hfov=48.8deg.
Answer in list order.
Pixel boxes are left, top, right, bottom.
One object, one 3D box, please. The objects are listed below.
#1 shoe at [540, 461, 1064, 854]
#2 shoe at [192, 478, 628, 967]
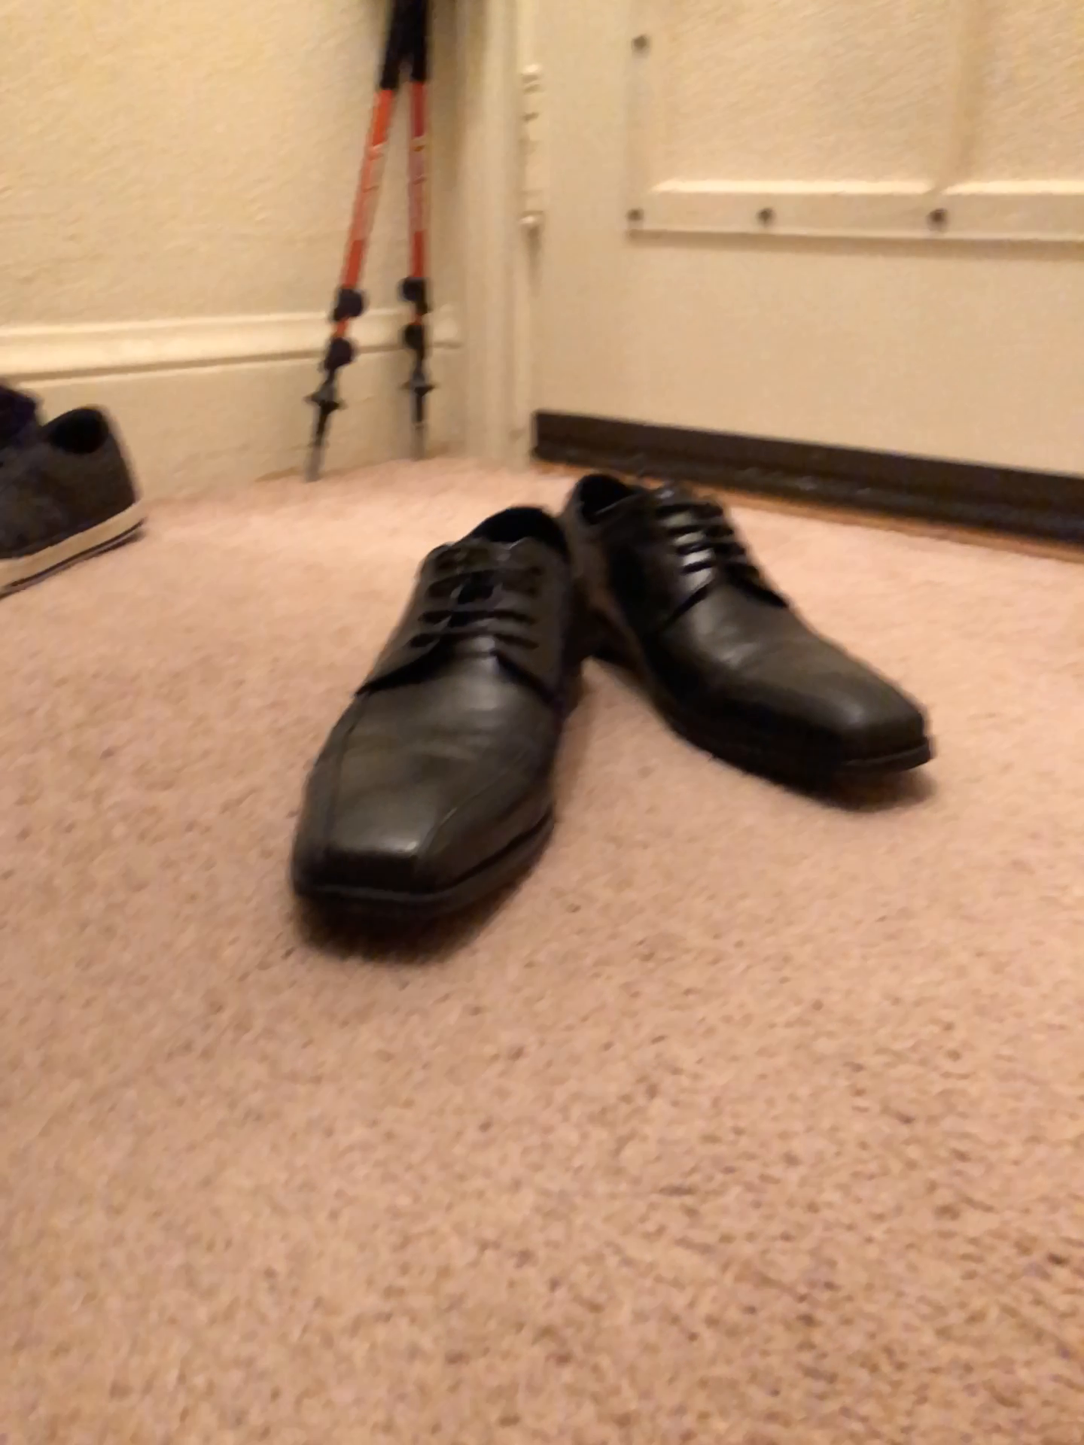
[{"bbox_3d":[0.113,-0.056,0.643,0.115,0.110,0.298,-9,25,-23],"label":"shoe"},{"bbox_3d":[-0.035,-0.024,0.528,0.110,0.107,0.284,5,23,9],"label":"shoe"}]
